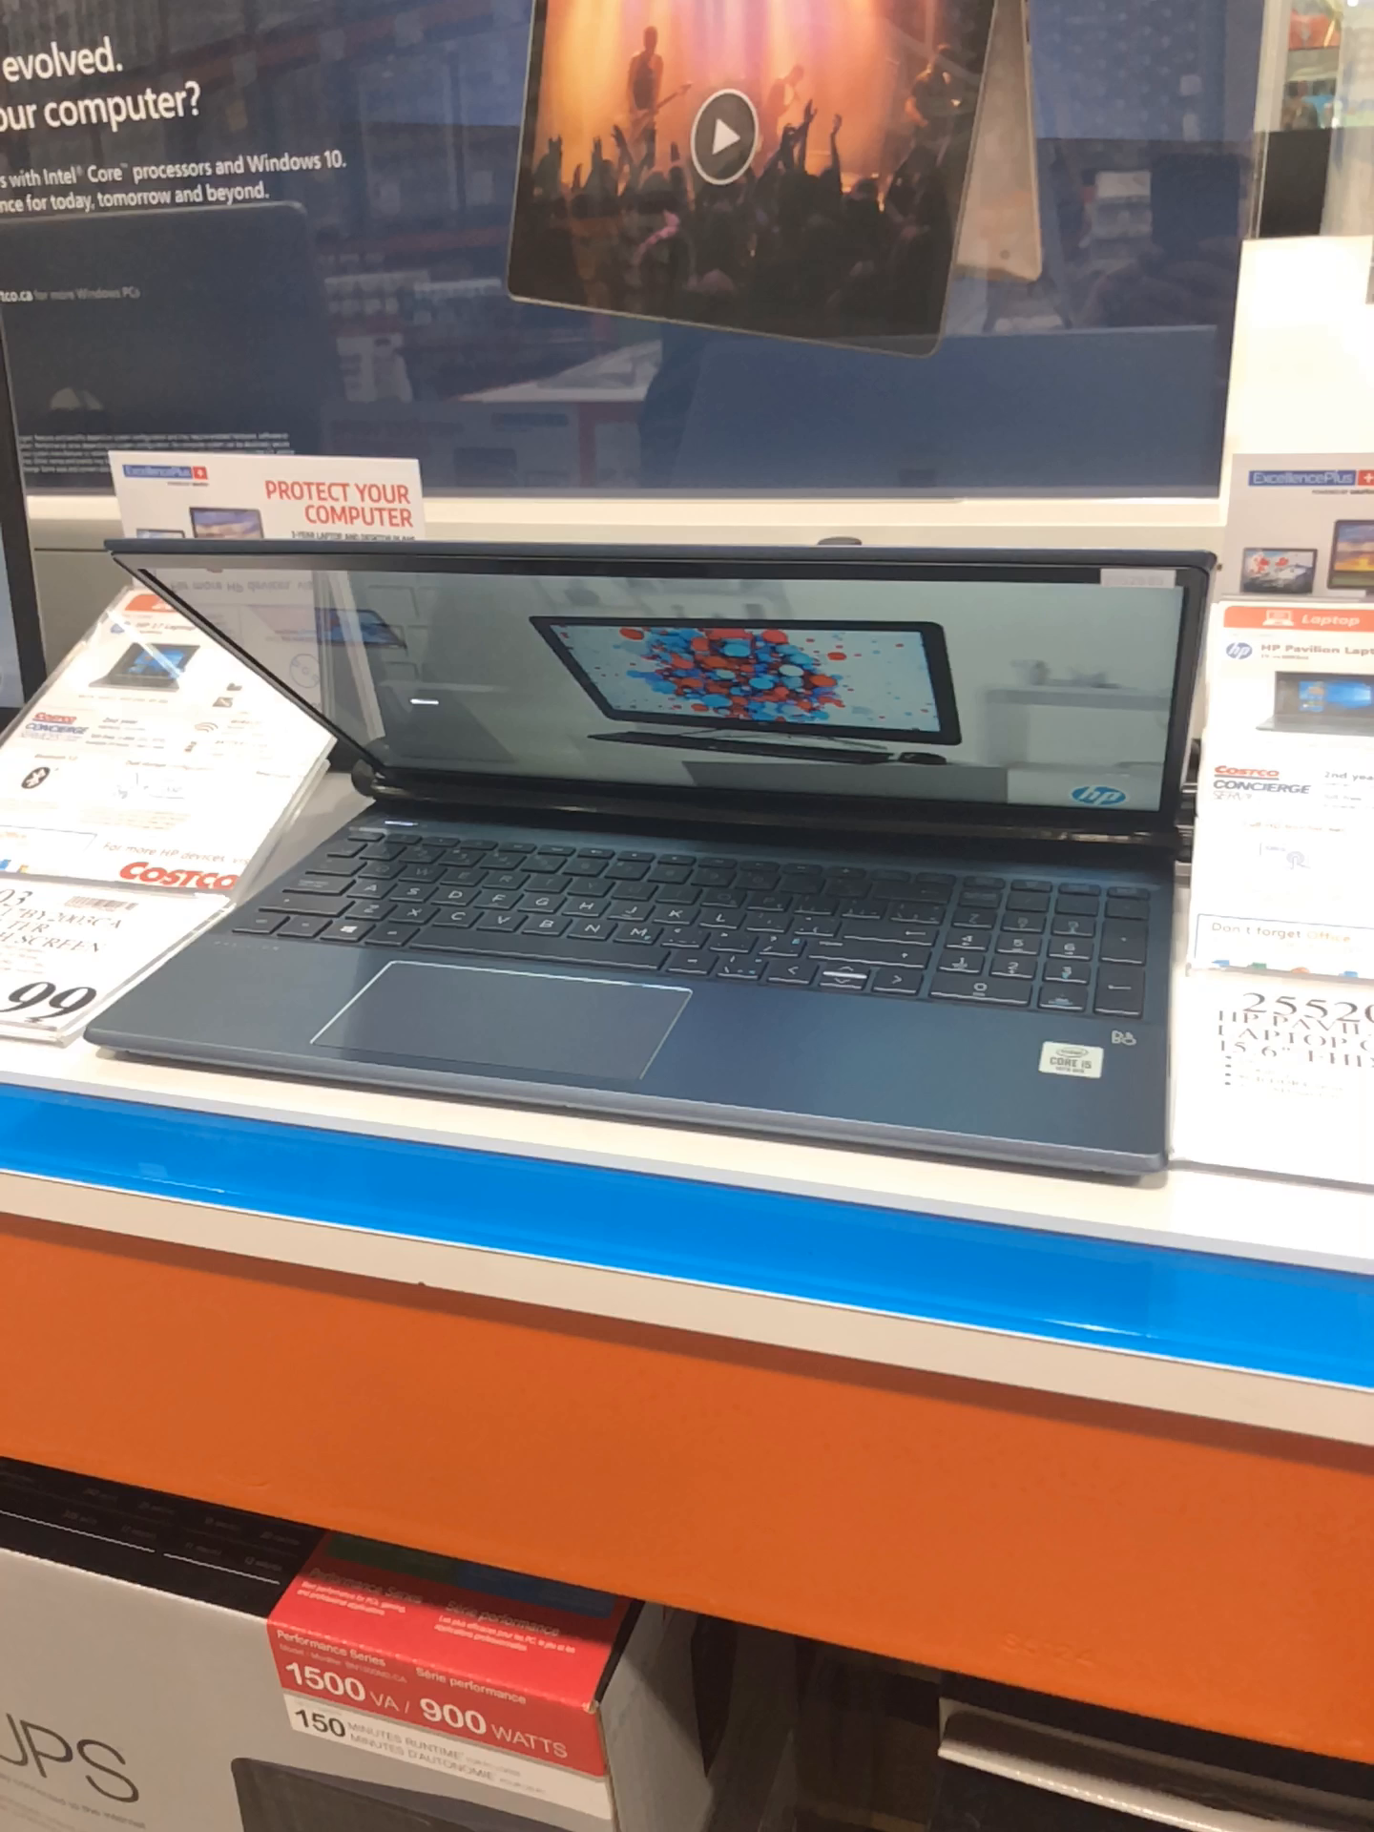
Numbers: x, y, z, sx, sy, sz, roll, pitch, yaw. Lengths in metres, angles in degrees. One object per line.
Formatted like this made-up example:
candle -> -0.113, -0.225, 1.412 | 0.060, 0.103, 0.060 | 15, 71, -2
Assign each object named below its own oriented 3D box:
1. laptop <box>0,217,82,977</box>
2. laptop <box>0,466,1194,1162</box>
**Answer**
laptop -> -0.510, -0.164, 0.655 | 0.342, 0.227, 0.288 | 4, 28, 15
laptop -> -0.011, -0.061, 0.529 | 0.346, 0.149, 0.218 | 5, 27, 17
